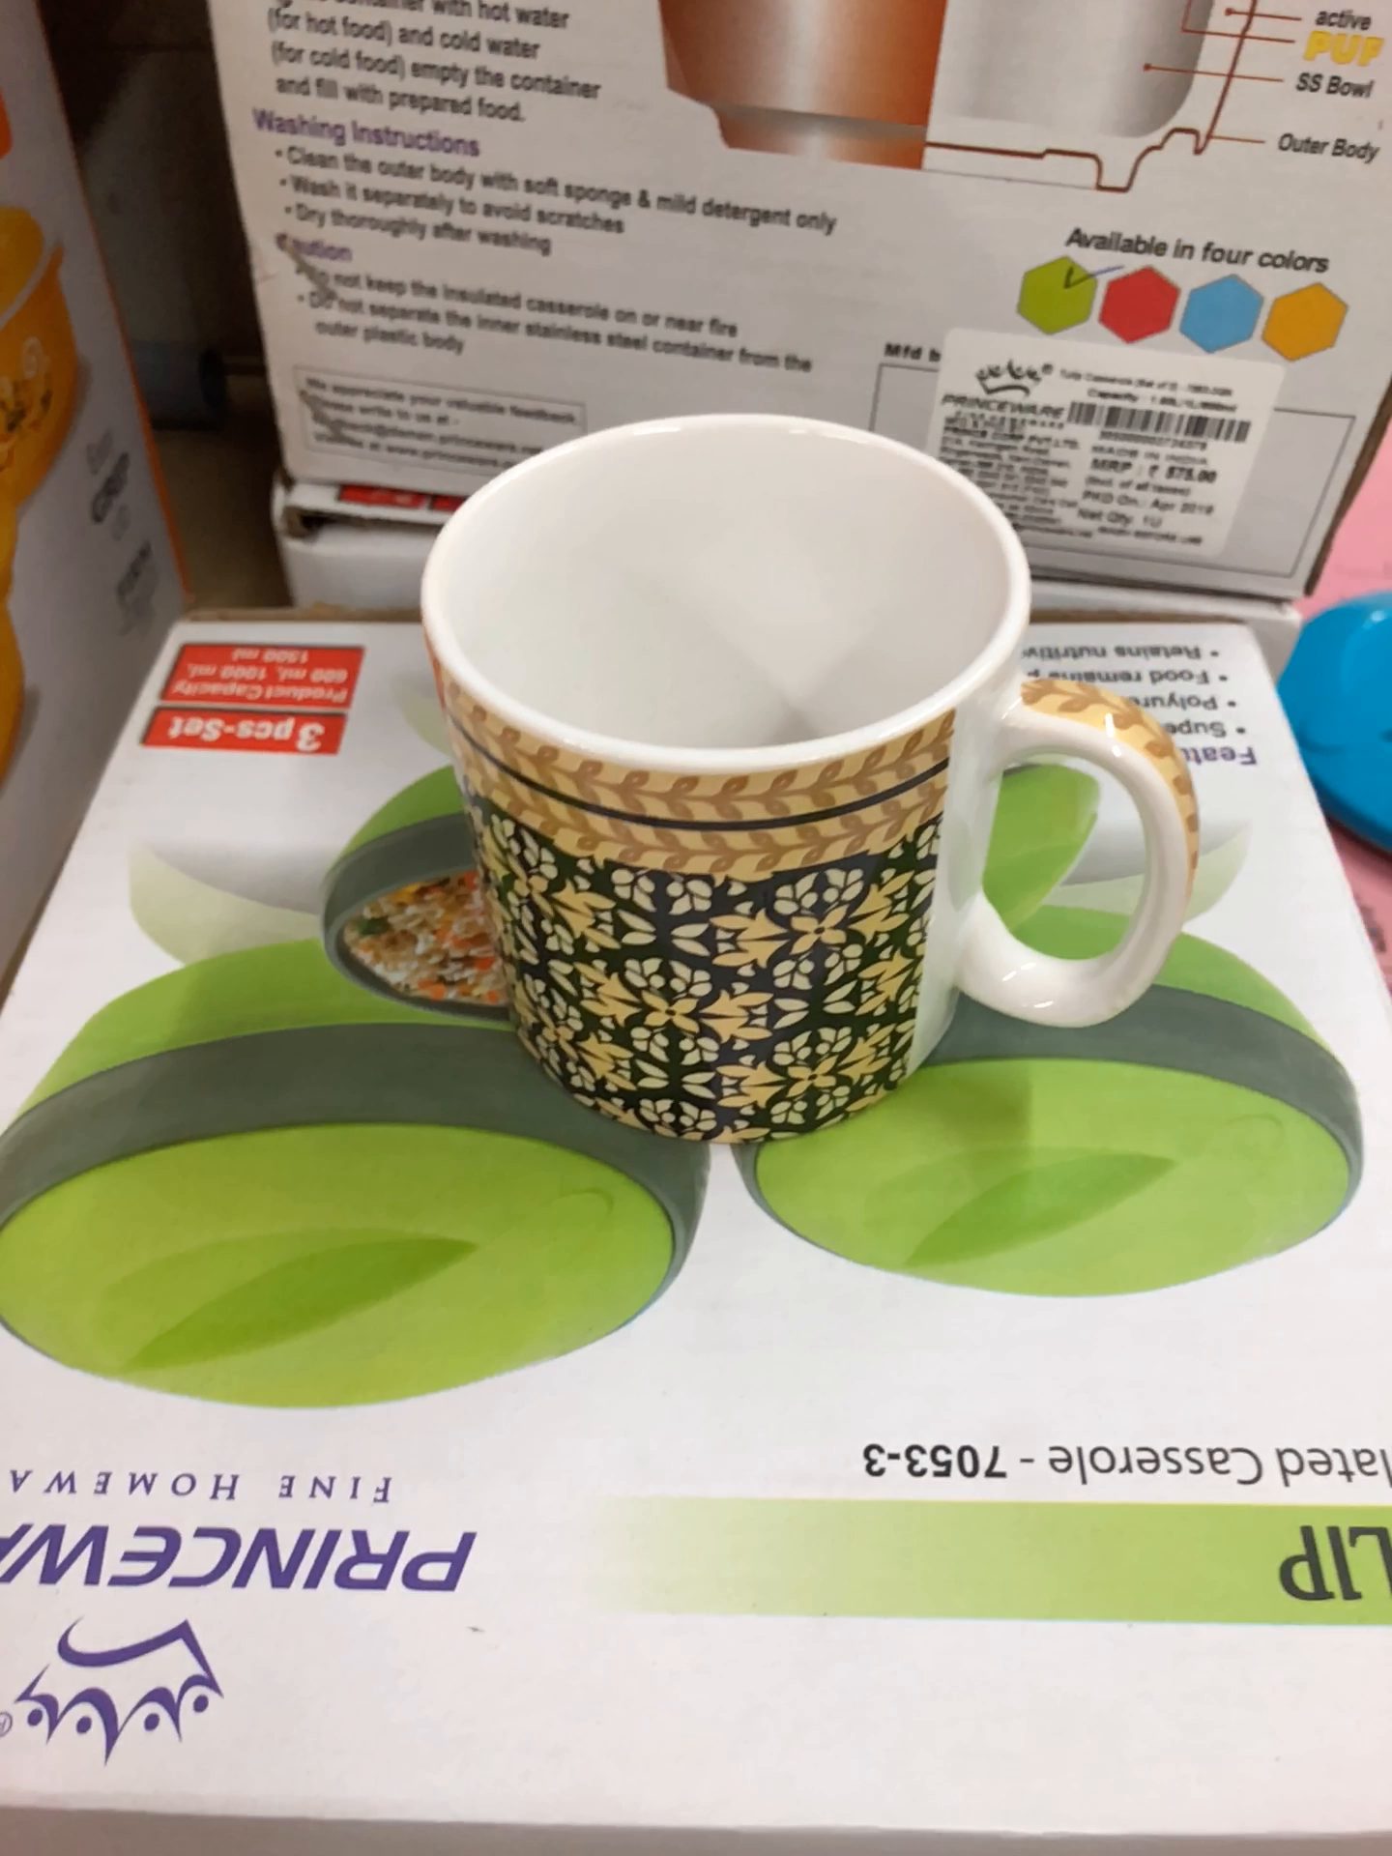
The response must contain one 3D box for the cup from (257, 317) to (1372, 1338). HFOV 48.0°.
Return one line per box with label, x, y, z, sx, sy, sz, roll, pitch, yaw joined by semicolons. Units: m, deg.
cup;0.017;-0.016;0.210;0.110;0.089;0.071;15;47;16
